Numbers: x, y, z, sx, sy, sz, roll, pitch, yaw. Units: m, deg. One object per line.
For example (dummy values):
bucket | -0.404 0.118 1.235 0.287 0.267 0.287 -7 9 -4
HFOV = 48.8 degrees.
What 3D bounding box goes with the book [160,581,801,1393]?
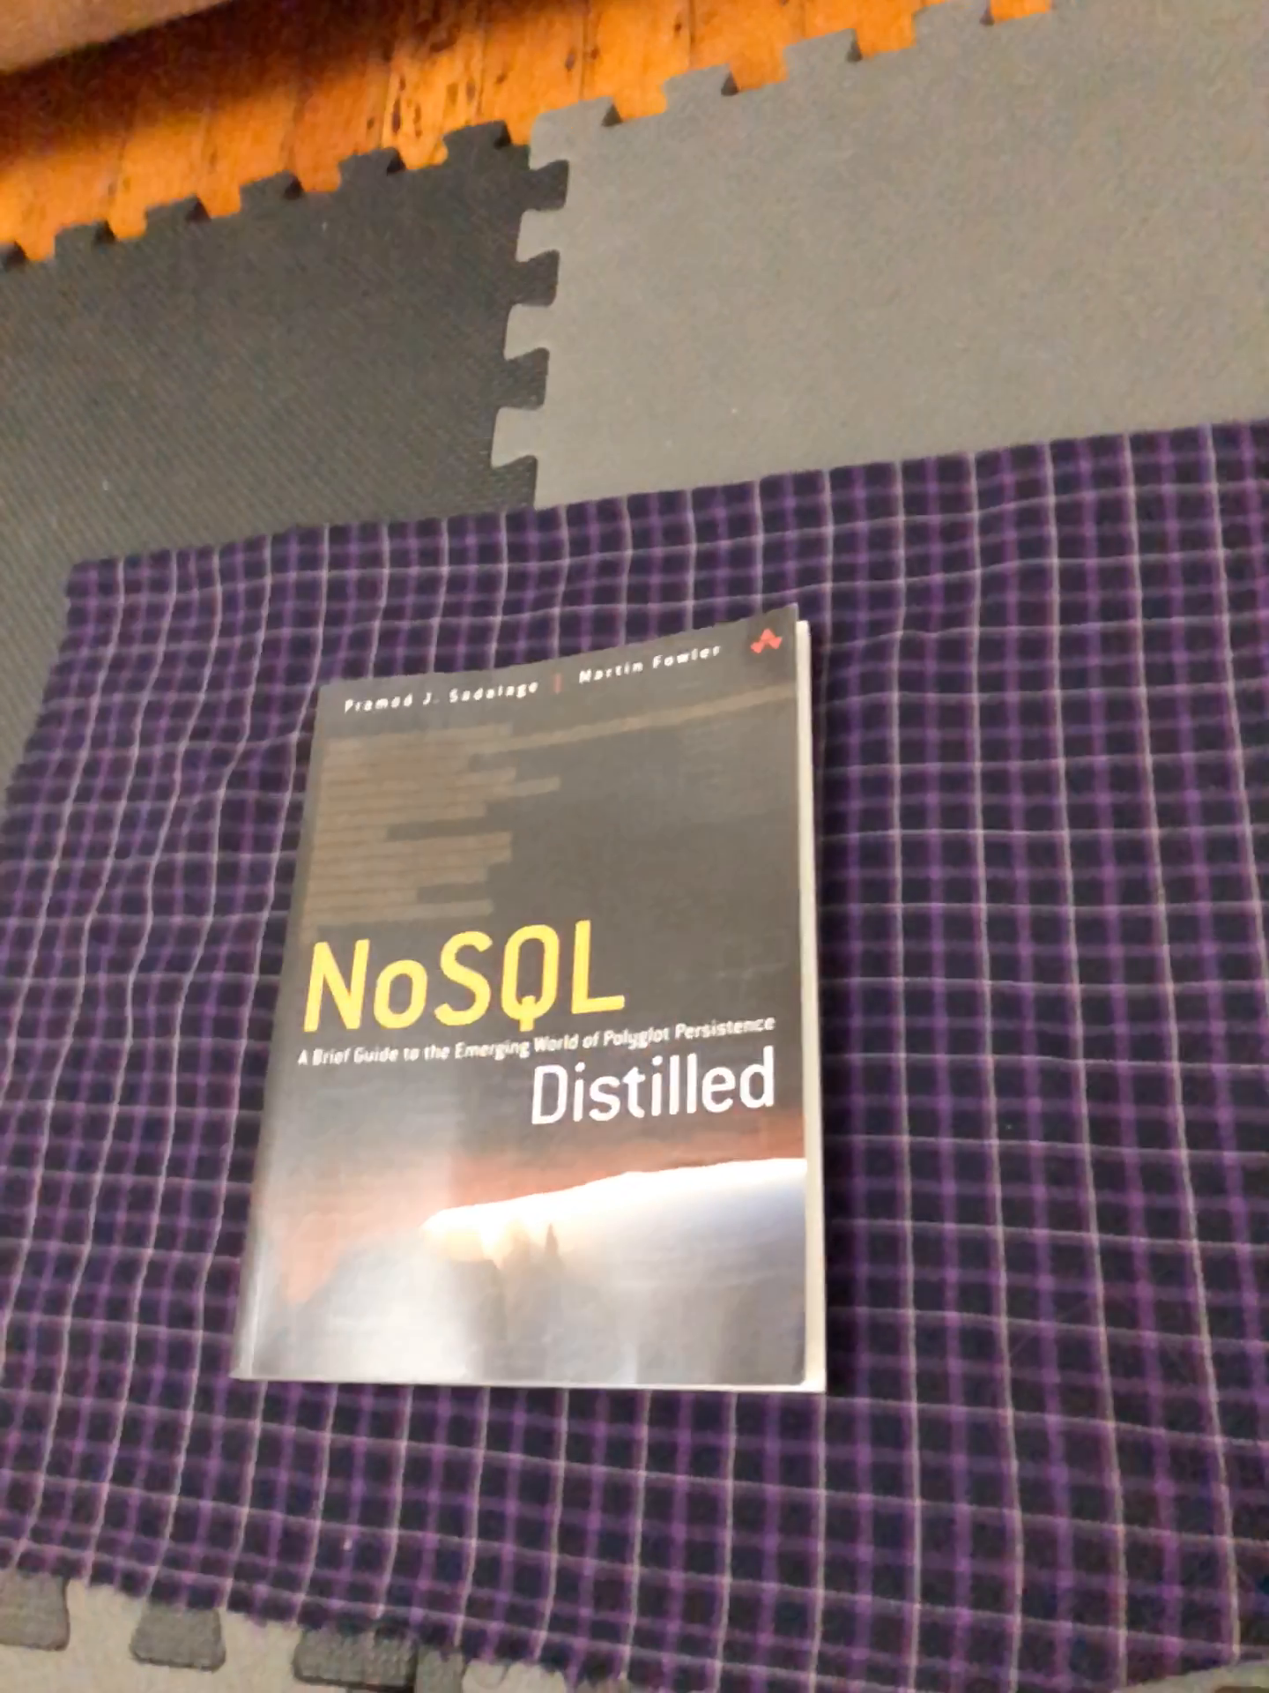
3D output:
book | -0.045 0.040 0.450 0.190 0.020 0.251 -6 64 17
